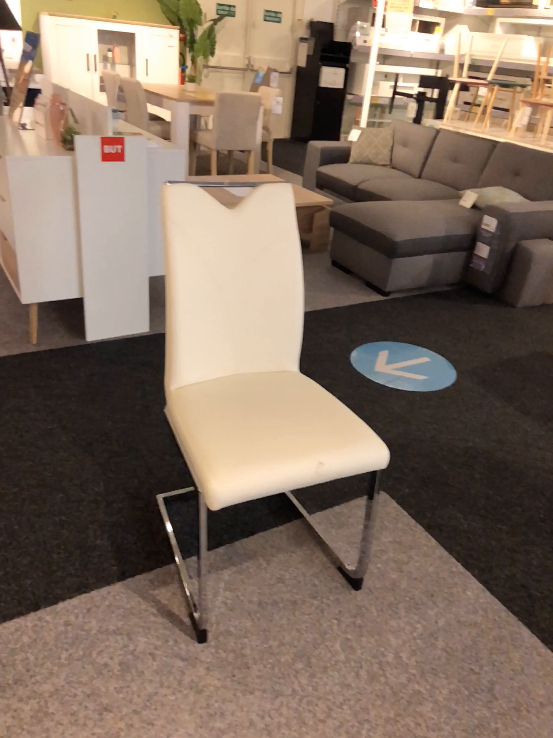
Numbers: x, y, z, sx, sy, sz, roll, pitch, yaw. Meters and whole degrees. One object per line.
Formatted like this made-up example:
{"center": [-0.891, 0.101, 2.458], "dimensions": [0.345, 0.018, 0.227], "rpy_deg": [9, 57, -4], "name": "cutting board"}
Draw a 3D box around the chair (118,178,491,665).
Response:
{"center": [-0.018, 0.063, 1.498], "dimensions": [0.563, 0.915, 0.631], "rpy_deg": [-9, 31, -27], "name": "chair"}
